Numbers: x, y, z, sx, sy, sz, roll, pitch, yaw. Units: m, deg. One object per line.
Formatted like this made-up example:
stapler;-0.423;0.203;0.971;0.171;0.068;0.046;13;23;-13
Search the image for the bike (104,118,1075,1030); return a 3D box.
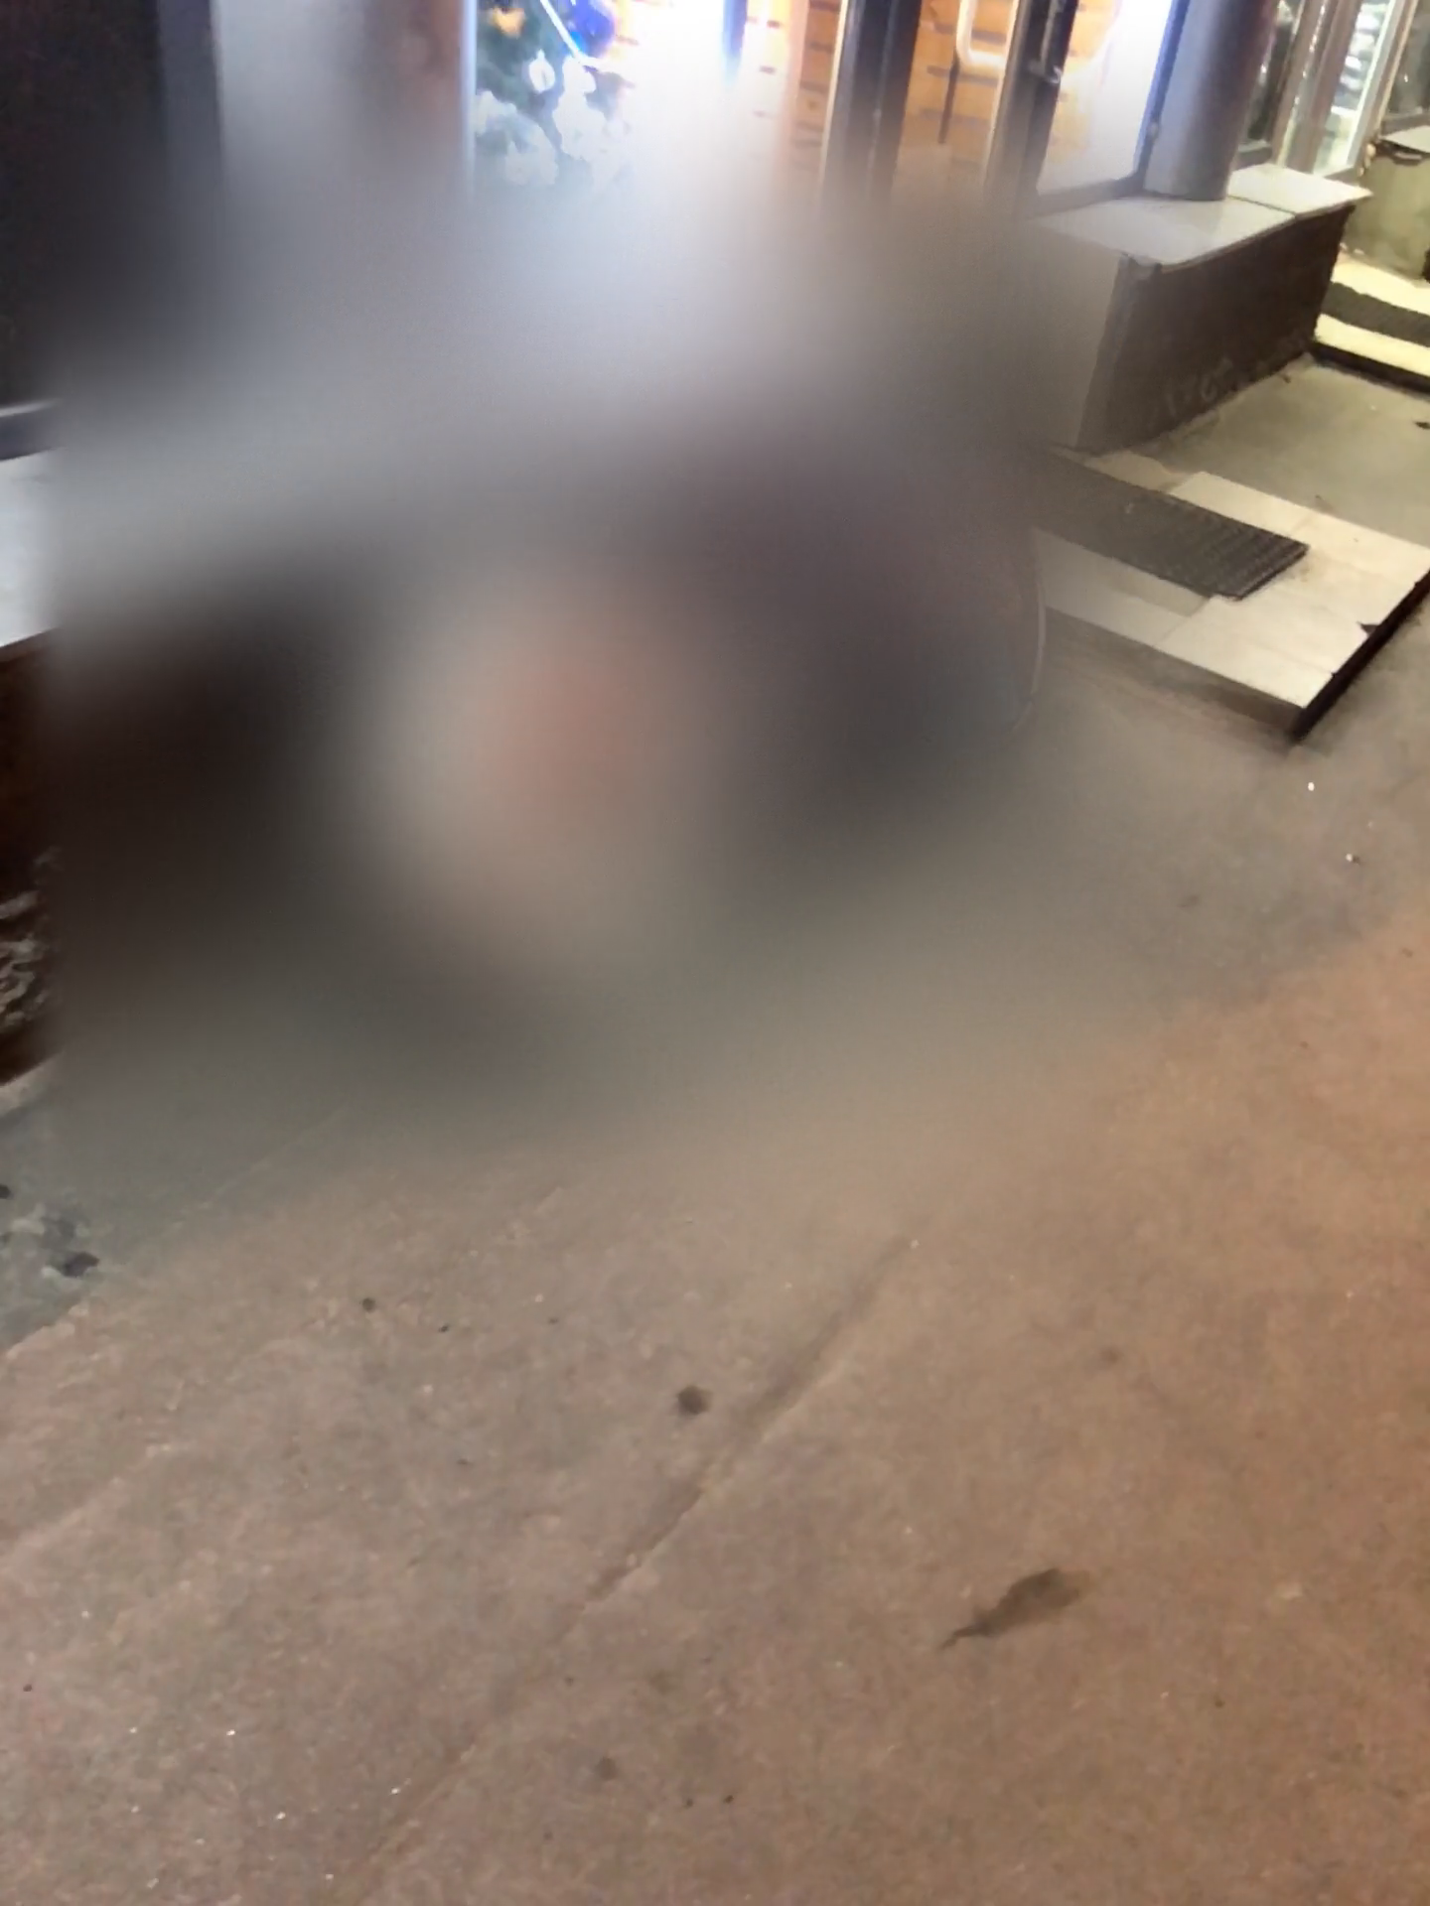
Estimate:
bike;-0.105;-0.743;2.522;0.570;0.916;1.593;27;40;25
